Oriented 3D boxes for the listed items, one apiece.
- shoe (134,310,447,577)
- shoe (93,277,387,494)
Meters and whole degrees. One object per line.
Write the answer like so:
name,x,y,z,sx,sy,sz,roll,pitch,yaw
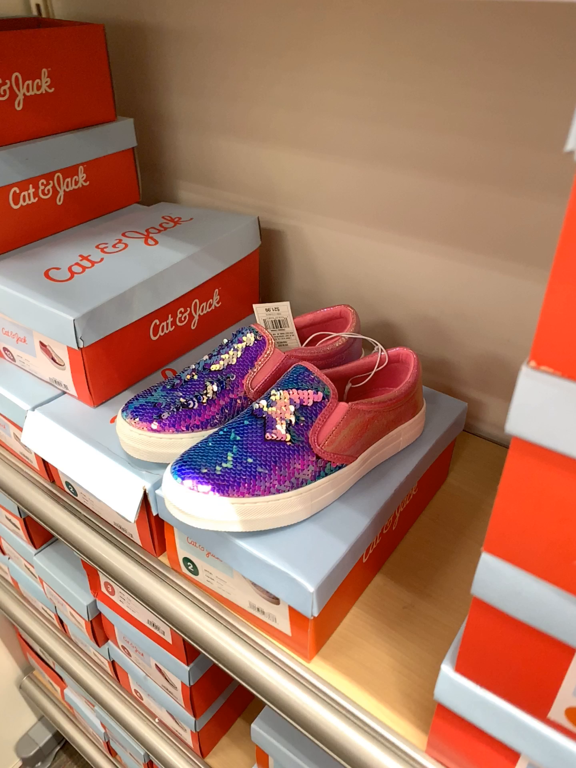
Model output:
shoe,0.010,0.029,0.430,0.210,0.074,0.090,-28,42,-32
shoe,-0.034,-0.010,0.487,0.210,0.074,0.100,-22,39,-27
